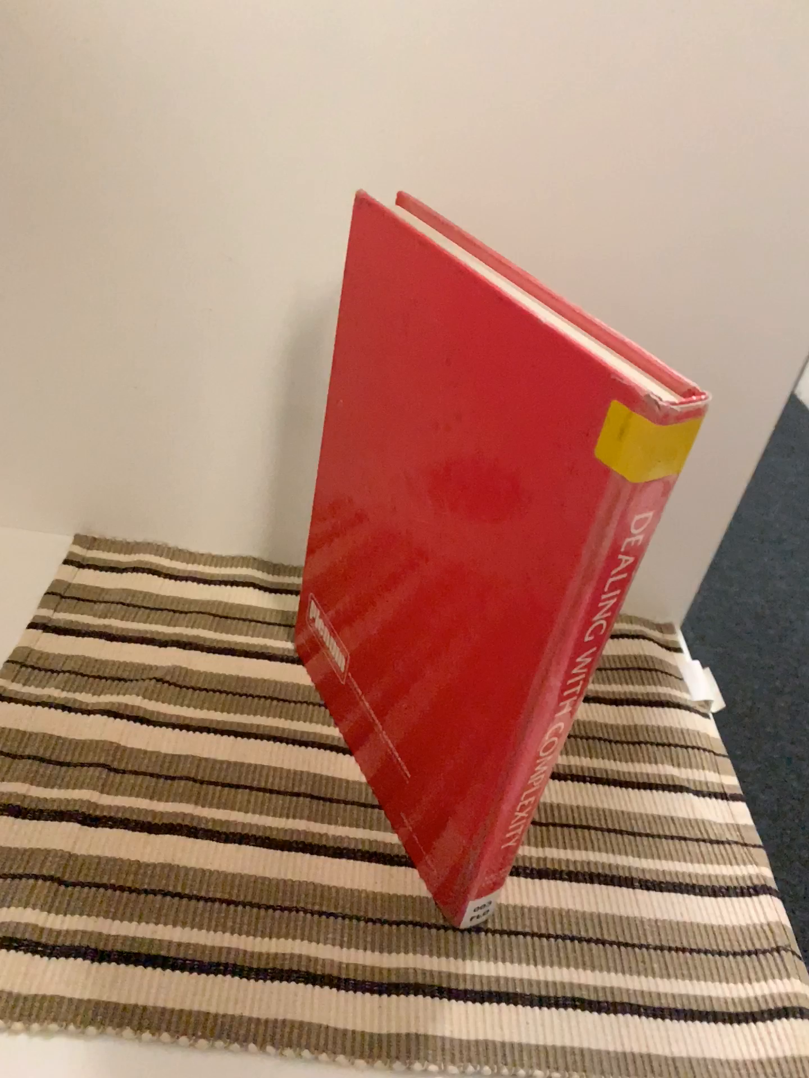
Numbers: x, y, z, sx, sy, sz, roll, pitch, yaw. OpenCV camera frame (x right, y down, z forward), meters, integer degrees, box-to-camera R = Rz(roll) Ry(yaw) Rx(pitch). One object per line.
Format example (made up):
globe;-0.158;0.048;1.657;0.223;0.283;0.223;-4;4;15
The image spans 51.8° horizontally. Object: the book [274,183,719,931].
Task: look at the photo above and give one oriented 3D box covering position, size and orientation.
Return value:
book;0.005;0.006;0.362;0.030;0.250;0.201;-9;40;-29
